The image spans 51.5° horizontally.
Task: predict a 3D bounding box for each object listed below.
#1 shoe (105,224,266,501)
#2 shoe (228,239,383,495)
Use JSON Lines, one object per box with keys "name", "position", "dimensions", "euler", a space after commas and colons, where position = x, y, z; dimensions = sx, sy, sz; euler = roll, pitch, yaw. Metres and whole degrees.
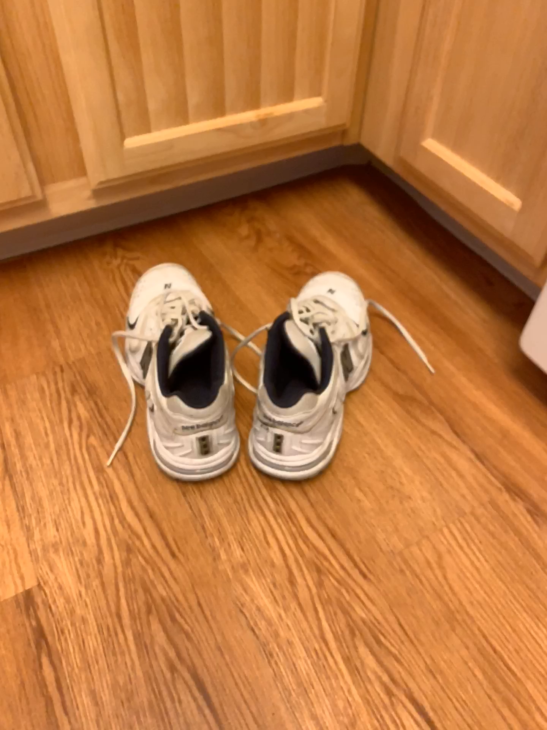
{"name": "shoe", "position": [-0.101, -0.017, 0.606], "dimensions": [0.110, 0.109, 0.281], "euler": [-11, 50, -12]}
{"name": "shoe", "position": [0.044, -0.011, 0.661], "dimensions": [0.110, 0.109, 0.281], "euler": [12, 49, 9]}
